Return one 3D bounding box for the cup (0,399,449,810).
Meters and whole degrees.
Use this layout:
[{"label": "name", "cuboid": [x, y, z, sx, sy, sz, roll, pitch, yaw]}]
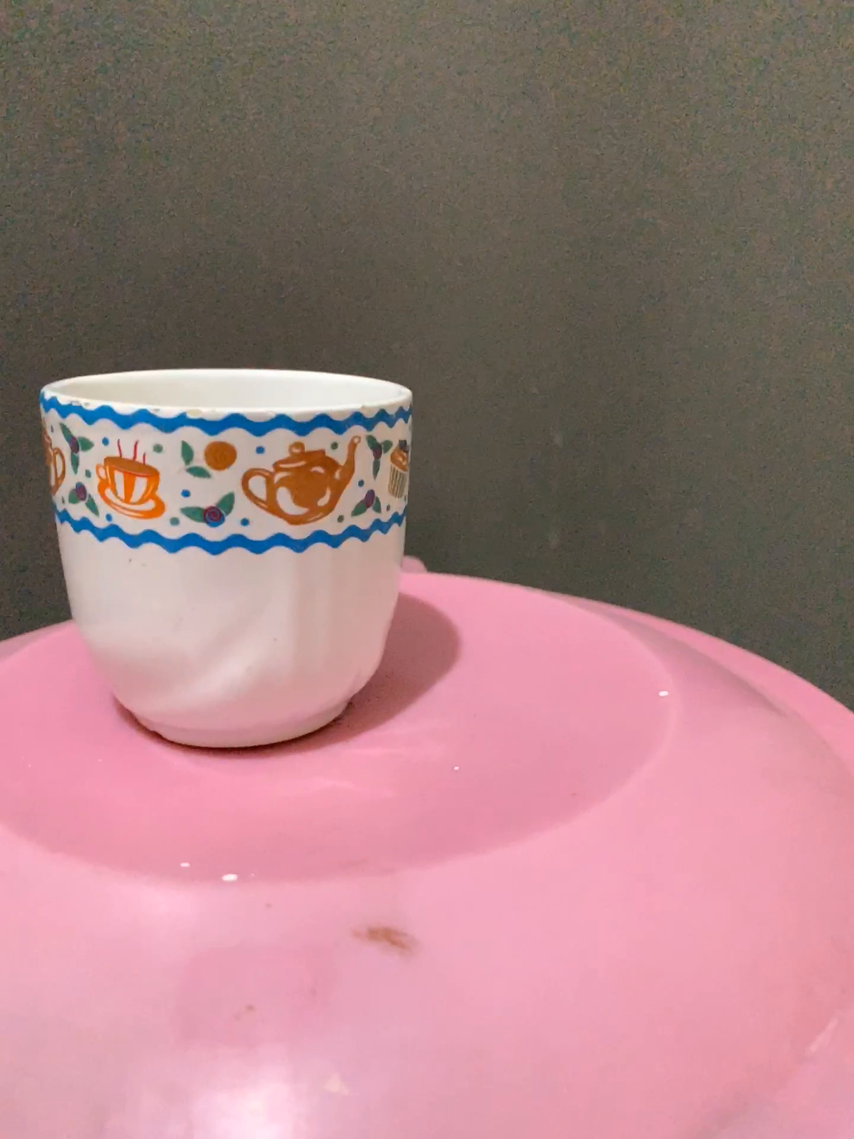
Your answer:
[{"label": "cup", "cuboid": [-0.036, 0.000, 0.179, 0.070, 0.060, 0.070, 0, 14, 0]}]
